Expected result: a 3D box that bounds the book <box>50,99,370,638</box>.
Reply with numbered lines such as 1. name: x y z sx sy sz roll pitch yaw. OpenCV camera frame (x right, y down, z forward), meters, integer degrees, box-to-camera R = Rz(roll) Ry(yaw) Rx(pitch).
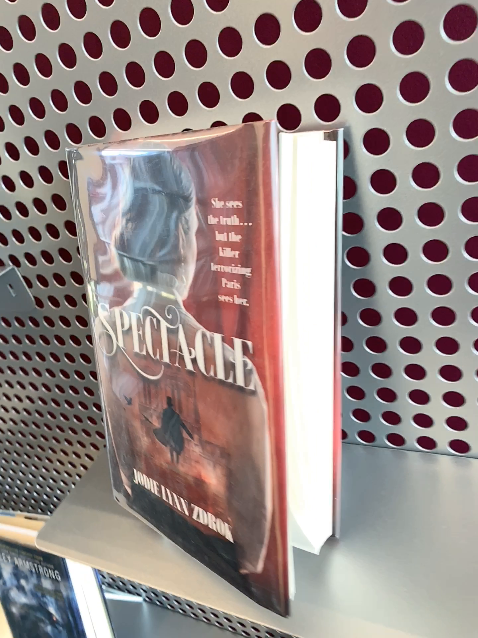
1. book: -0.017 0.015 0.256 0.059 0.212 0.154 -19 21 -42
